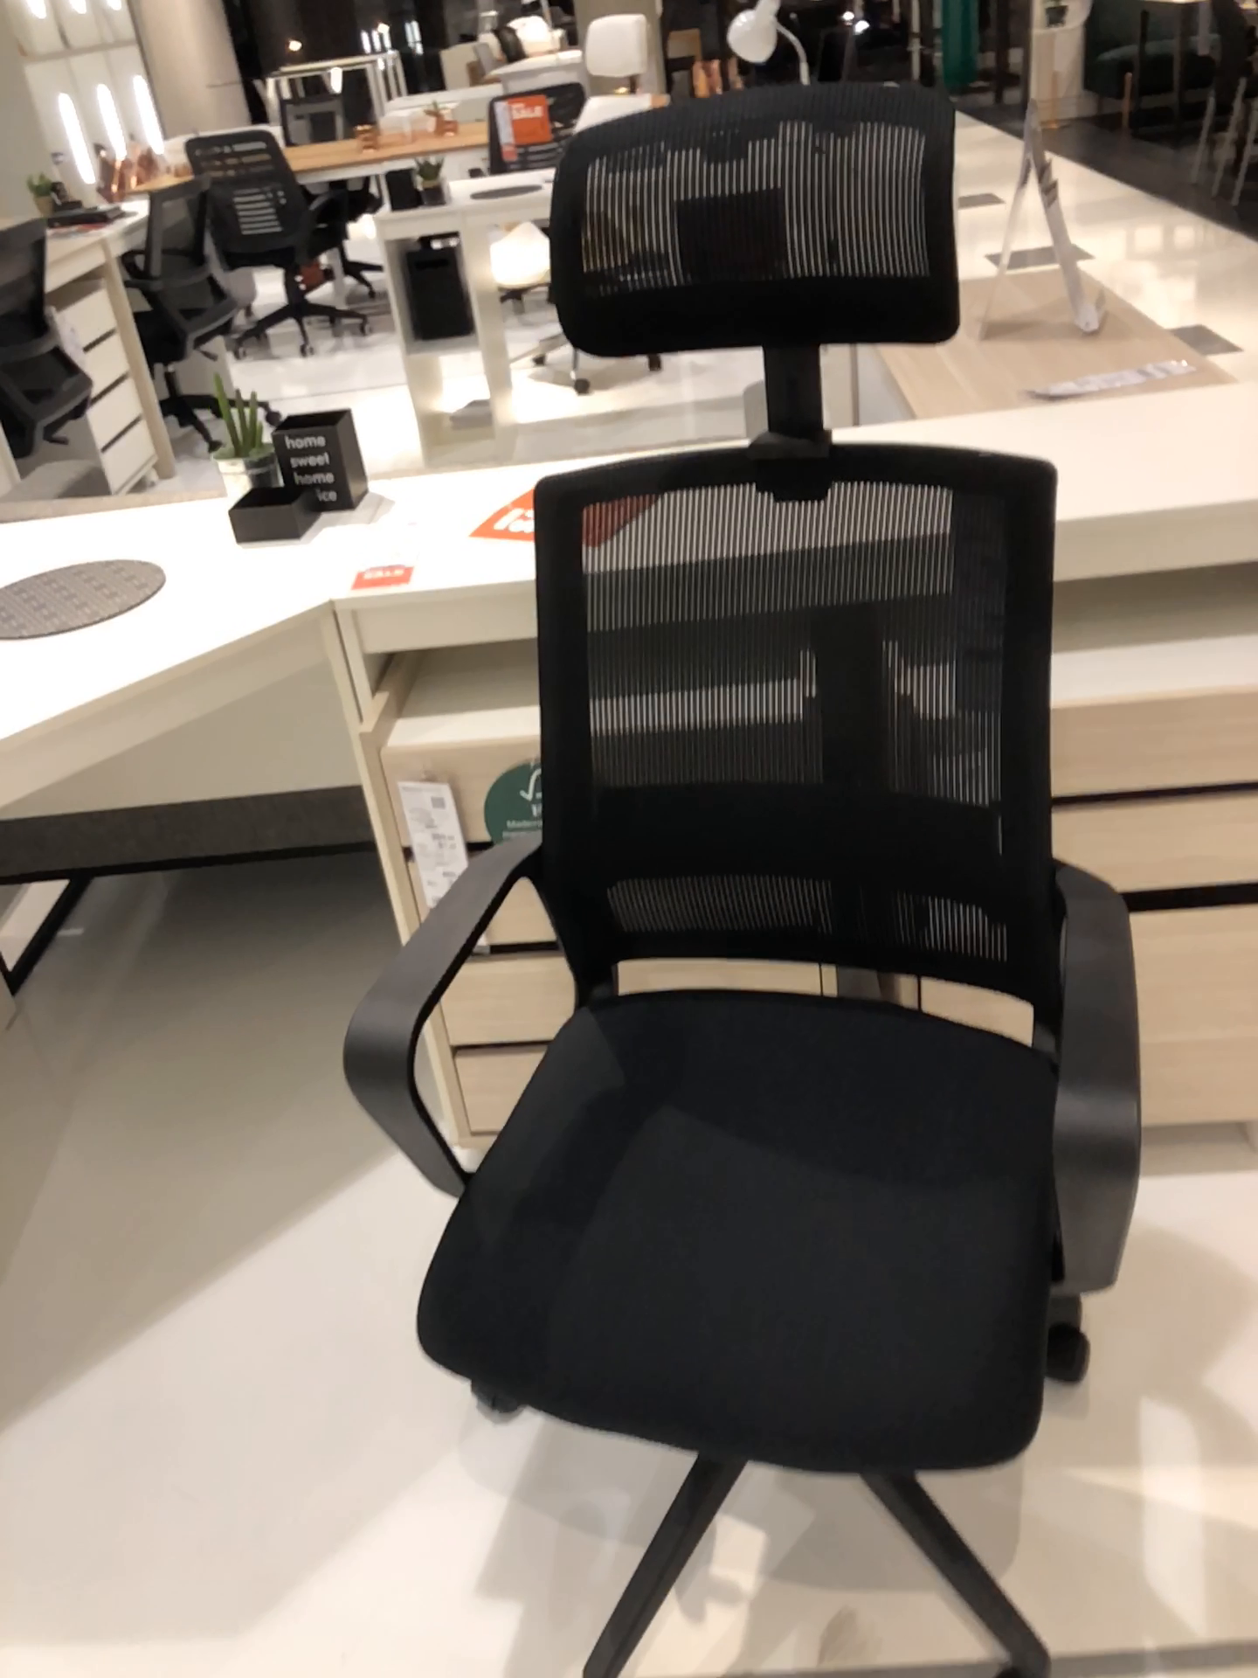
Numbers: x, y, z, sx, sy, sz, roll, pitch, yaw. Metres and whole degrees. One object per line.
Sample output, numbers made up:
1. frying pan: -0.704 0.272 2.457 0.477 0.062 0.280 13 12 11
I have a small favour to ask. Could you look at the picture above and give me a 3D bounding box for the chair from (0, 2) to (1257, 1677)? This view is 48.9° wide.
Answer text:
1. chair: 0.075 0.099 1.026 0.660 1.132 0.664 2 33 17
